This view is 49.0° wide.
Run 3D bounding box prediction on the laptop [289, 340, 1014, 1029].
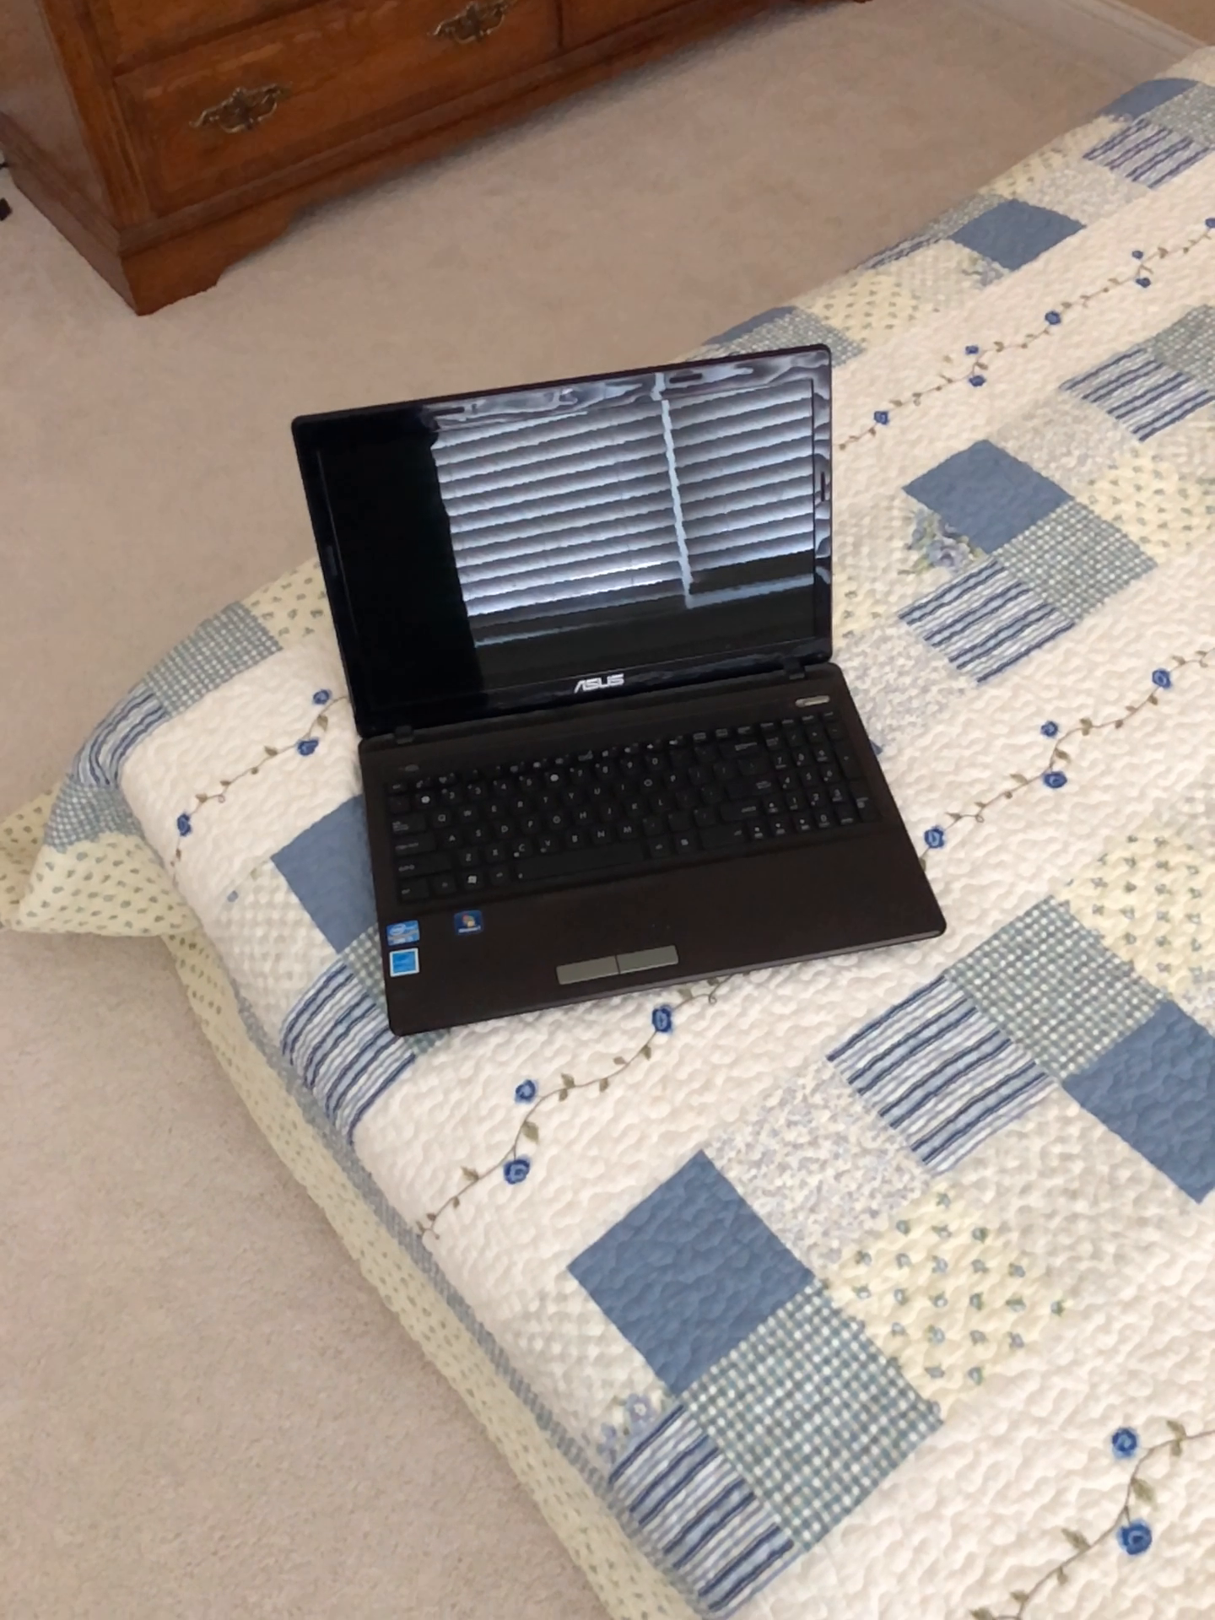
[{"bbox_3d":[0.005,-0.090,0.863,0.358,0.193,0.351,-10,57,-6],"label":"laptop"}]
